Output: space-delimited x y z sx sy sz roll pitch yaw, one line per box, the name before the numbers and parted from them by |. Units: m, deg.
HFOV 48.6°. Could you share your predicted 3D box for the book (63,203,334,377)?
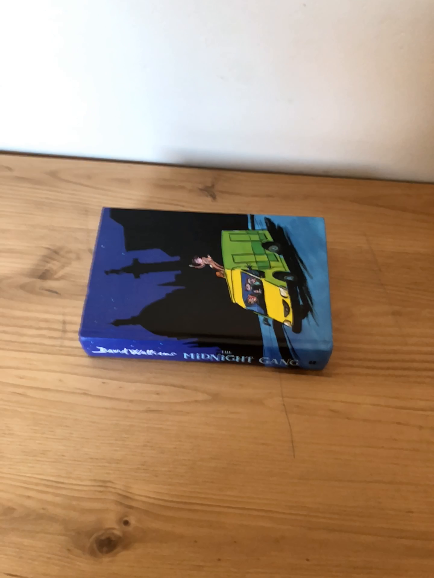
book | -0.013 -0.001 0.481 0.237 0.060 0.153 2 63 2
